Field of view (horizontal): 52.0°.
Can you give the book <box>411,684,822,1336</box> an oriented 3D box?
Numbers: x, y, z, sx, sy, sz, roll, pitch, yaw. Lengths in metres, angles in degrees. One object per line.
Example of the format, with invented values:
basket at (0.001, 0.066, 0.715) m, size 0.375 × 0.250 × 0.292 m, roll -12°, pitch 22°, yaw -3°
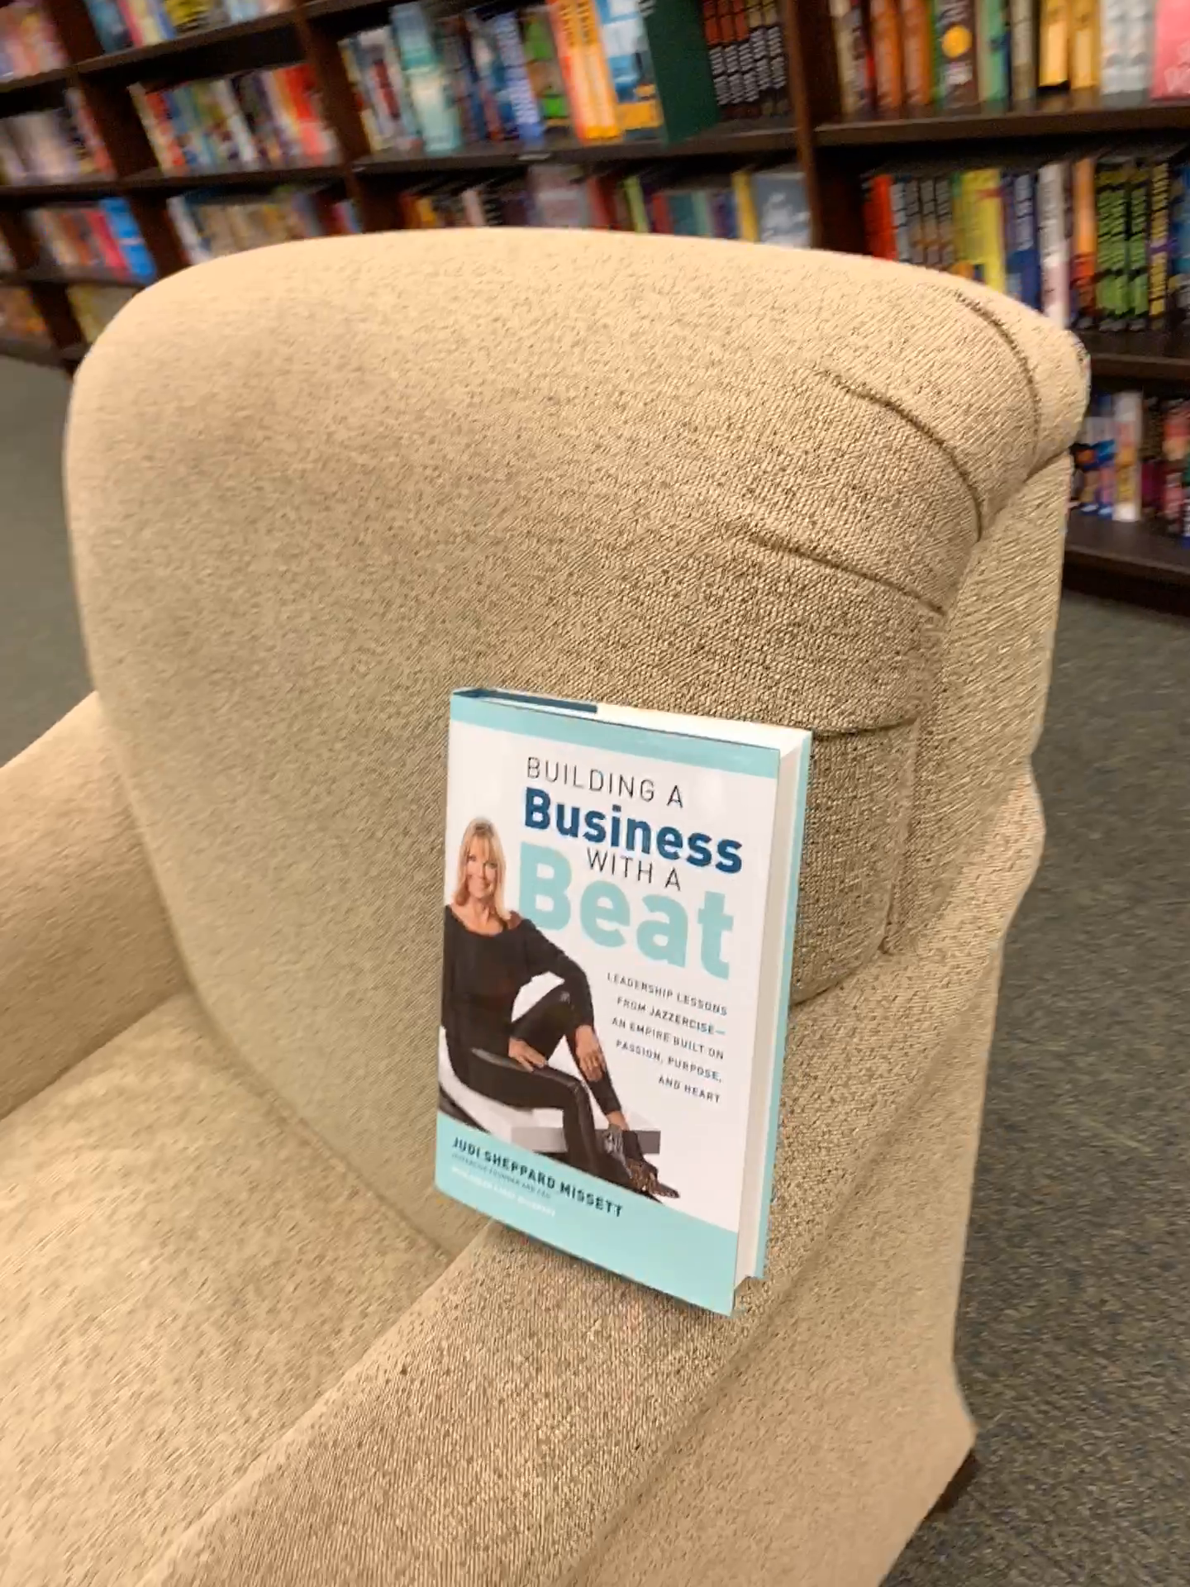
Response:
book at (0.000, 0.079, 0.507) m, size 0.170 × 0.230 × 0.040 m, roll 10°, pitch 15°, yaw 35°
